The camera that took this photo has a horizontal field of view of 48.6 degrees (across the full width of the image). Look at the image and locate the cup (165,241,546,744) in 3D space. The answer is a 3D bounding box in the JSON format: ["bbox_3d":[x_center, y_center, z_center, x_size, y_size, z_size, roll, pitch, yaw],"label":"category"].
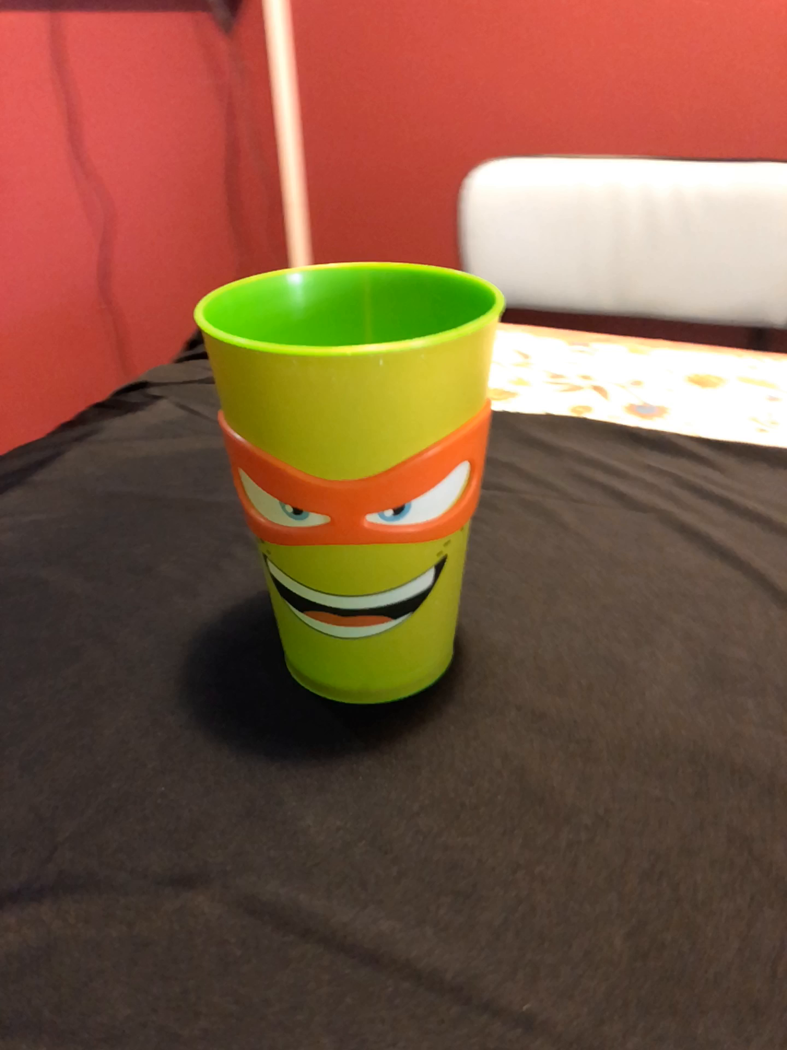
[{"bbox_3d":[-0.009,-0.016,0.311,0.100,0.139,0.111,-2,29,0],"label":"cup"}]
